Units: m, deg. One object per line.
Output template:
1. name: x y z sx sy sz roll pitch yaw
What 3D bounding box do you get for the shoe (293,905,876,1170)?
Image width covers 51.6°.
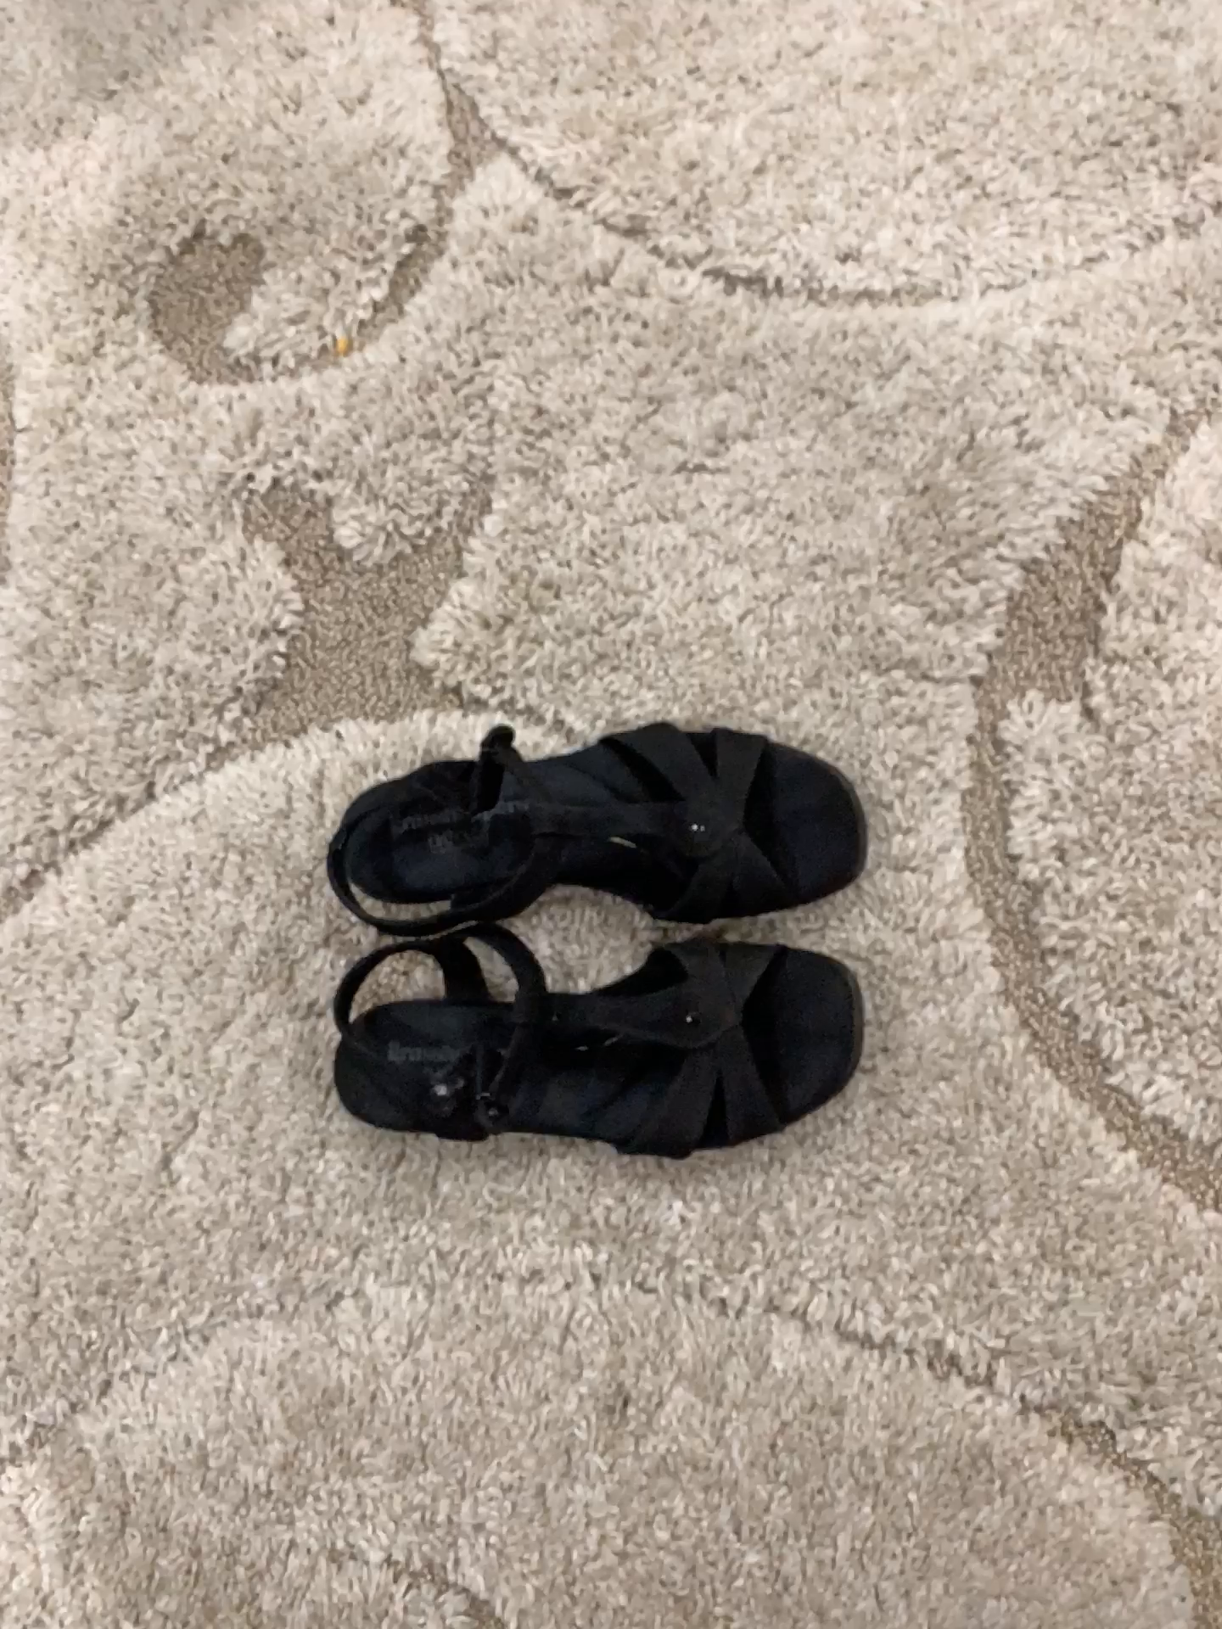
1. shoe: -0.012 0.098 0.549 0.241 0.060 0.100 -4 81 10

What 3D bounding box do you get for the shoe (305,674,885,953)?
1. shoe: -0.008 0.004 0.553 0.241 0.060 0.100 -4 81 10
